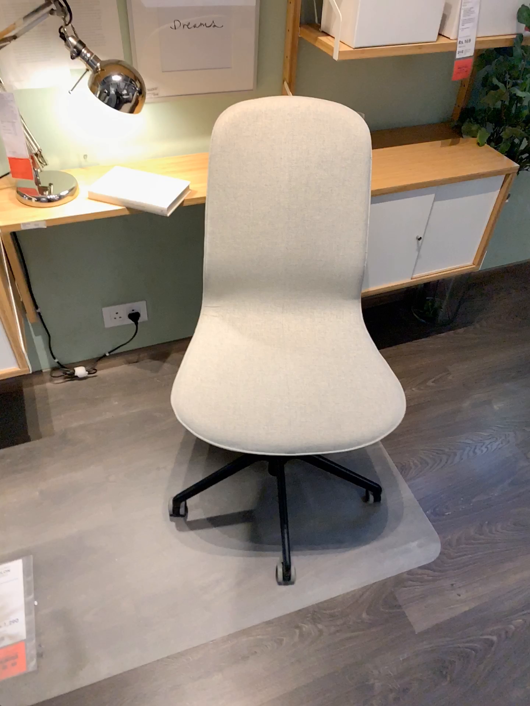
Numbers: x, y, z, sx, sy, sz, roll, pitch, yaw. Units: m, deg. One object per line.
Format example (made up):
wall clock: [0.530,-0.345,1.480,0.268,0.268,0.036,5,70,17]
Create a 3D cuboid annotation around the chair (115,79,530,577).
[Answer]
chair: [0.097,0.000,1.243,0.620,0.966,0.623,1,44,-2]
